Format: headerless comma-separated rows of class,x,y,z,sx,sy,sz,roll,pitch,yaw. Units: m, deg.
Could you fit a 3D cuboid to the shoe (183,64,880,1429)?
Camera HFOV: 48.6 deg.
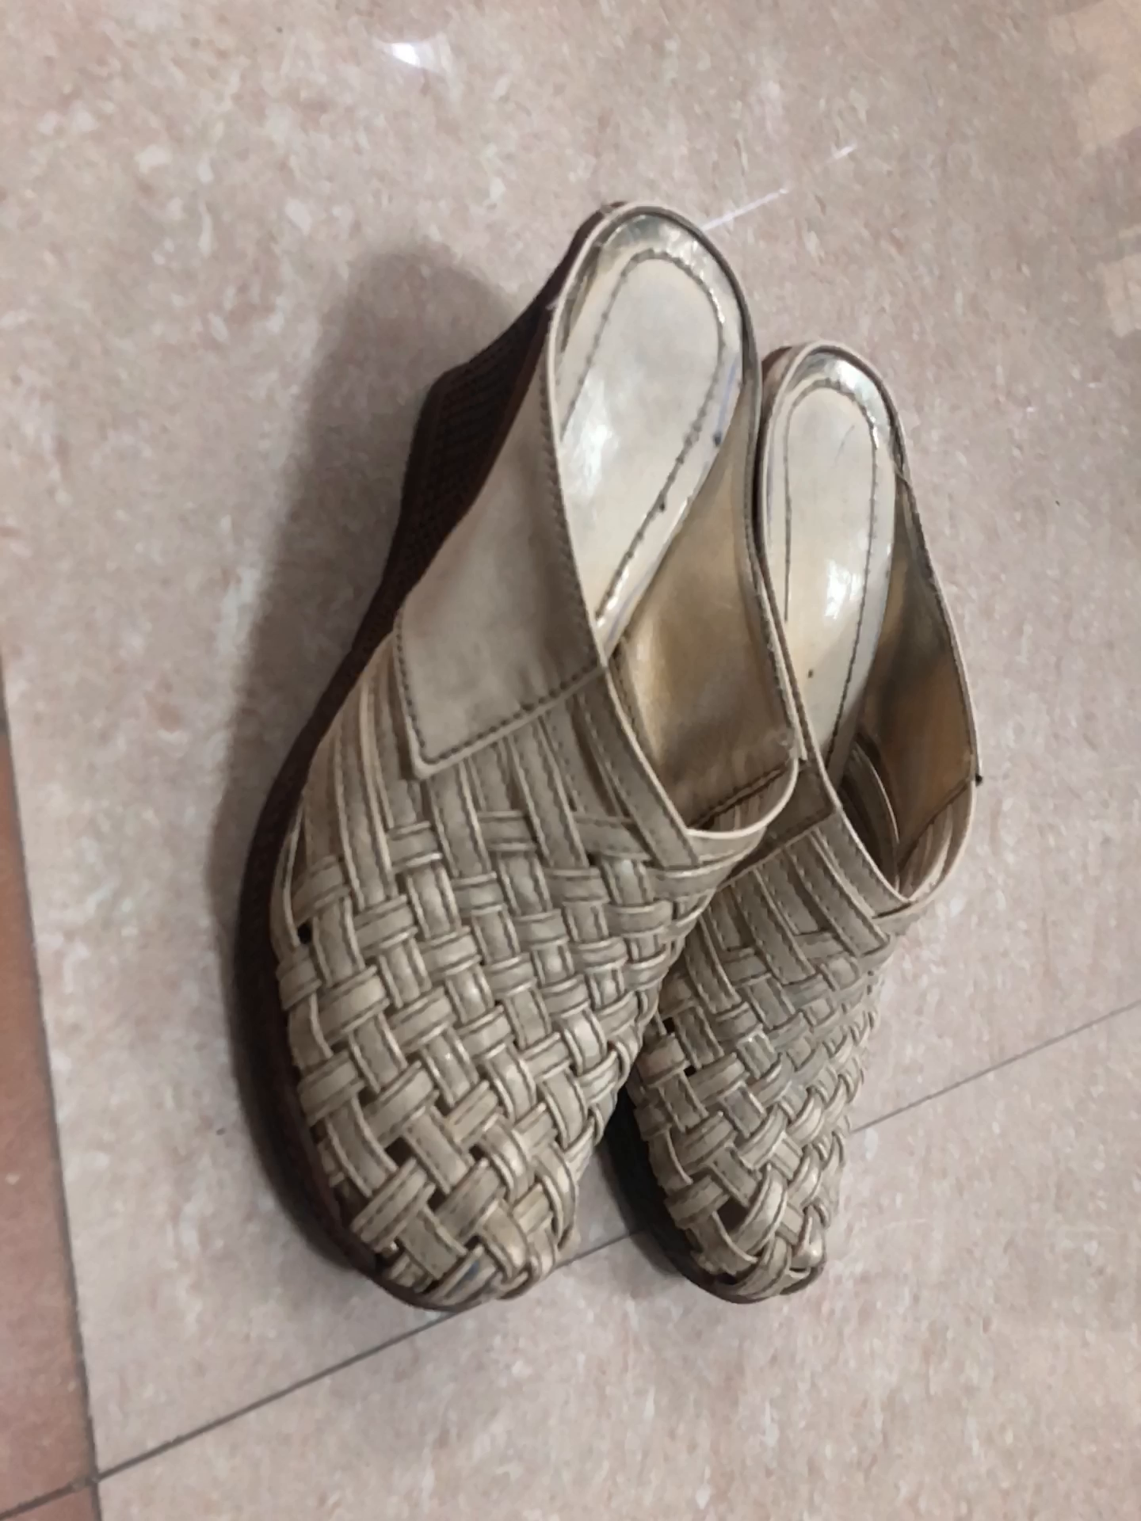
shoe,-0.001,-0.003,0.271,0.090,0.080,0.240,18,72,-37

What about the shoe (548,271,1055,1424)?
shoe,0.056,0.019,0.321,0.090,0.080,0.240,7,79,-37
